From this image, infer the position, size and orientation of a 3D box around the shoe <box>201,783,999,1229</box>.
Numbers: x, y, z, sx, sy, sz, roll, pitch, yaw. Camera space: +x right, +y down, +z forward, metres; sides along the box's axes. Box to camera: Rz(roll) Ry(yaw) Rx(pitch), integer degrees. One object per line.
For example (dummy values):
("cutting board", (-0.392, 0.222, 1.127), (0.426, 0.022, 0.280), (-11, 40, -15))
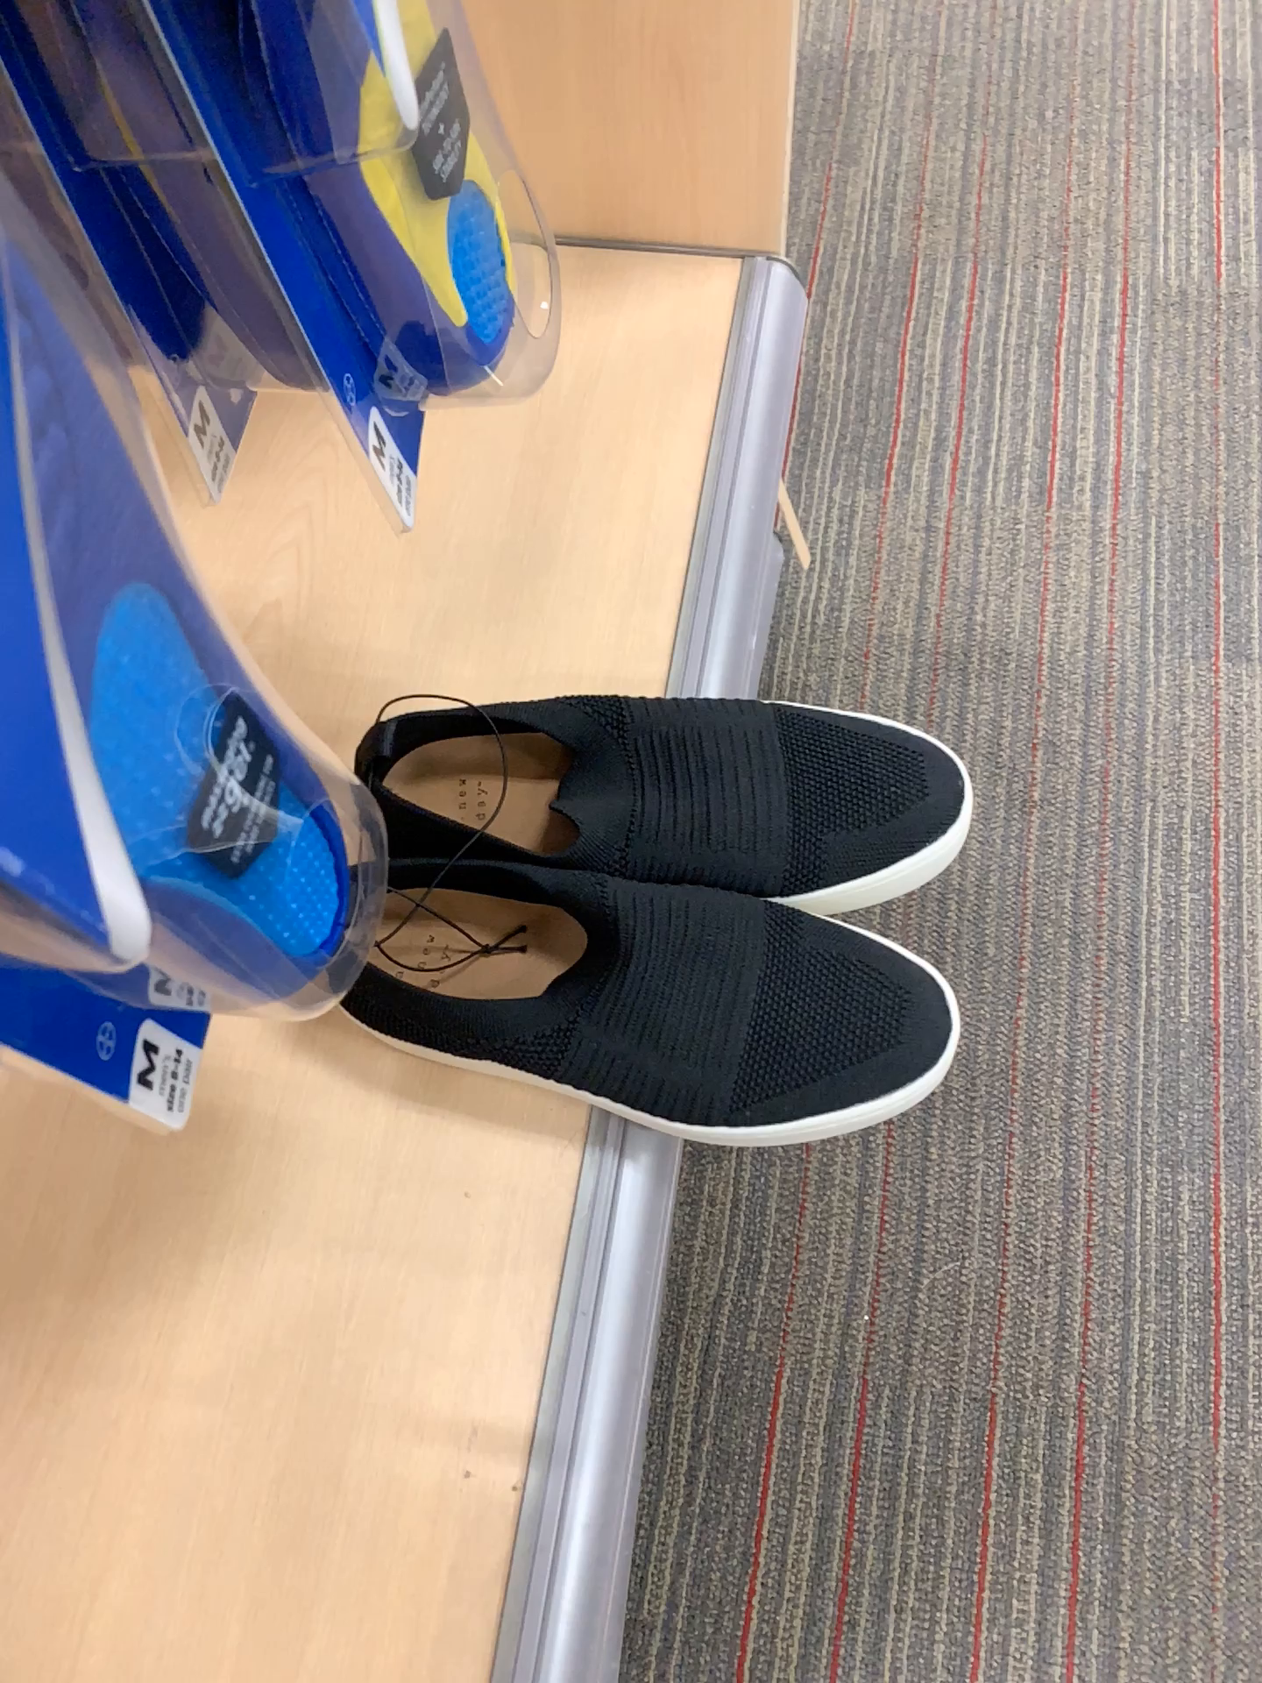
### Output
("shoe", (-0.008, 0.066, 0.507), (0.270, 0.100, 0.100), (10, 68, 8))

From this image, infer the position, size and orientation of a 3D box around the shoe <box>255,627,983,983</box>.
("shoe", (0.000, -0.014, 0.541), (0.270, 0.100, 0.100), (4, 67, 6))
